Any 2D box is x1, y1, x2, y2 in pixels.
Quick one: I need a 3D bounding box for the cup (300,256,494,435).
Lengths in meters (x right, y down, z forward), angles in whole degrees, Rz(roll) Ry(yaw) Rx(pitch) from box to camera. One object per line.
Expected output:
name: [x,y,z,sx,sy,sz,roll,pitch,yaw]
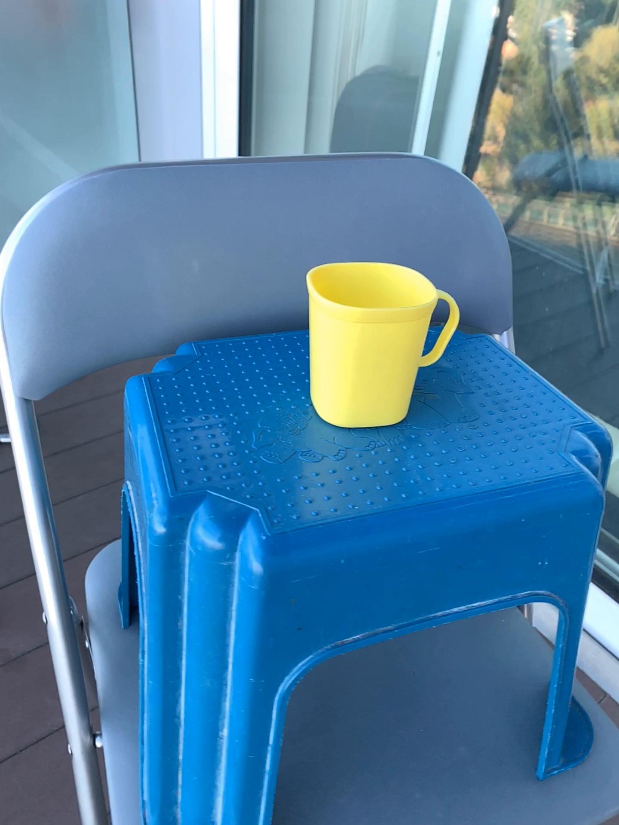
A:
cup: [0.045,-0.042,0.375,0.089,0.077,0.068,-5,33,-11]
